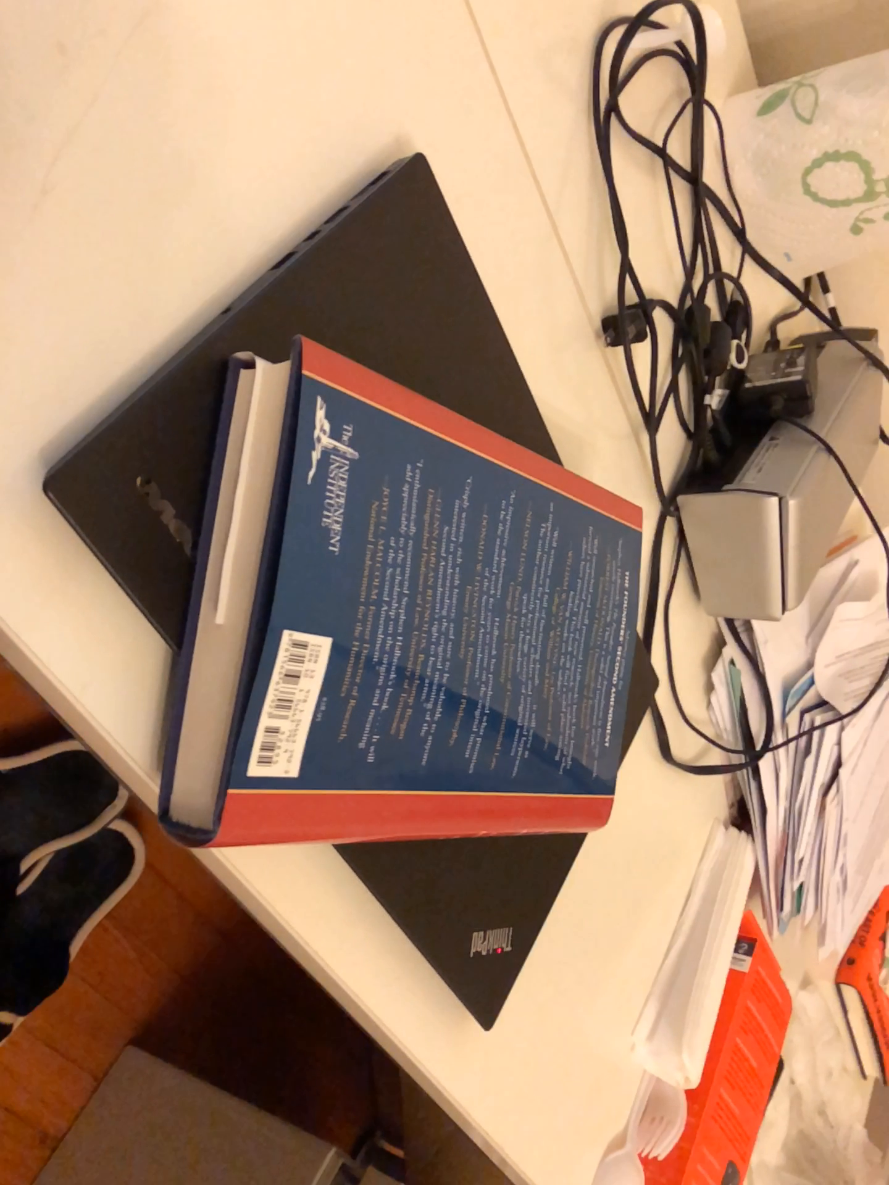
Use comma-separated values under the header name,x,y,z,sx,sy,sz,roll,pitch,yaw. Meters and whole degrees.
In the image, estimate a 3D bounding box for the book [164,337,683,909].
name,x,y,z,sx,sy,sz,roll,pitch,yaw
book,0.015,0.028,0.390,0.241,0.040,0.170,16,77,-48
